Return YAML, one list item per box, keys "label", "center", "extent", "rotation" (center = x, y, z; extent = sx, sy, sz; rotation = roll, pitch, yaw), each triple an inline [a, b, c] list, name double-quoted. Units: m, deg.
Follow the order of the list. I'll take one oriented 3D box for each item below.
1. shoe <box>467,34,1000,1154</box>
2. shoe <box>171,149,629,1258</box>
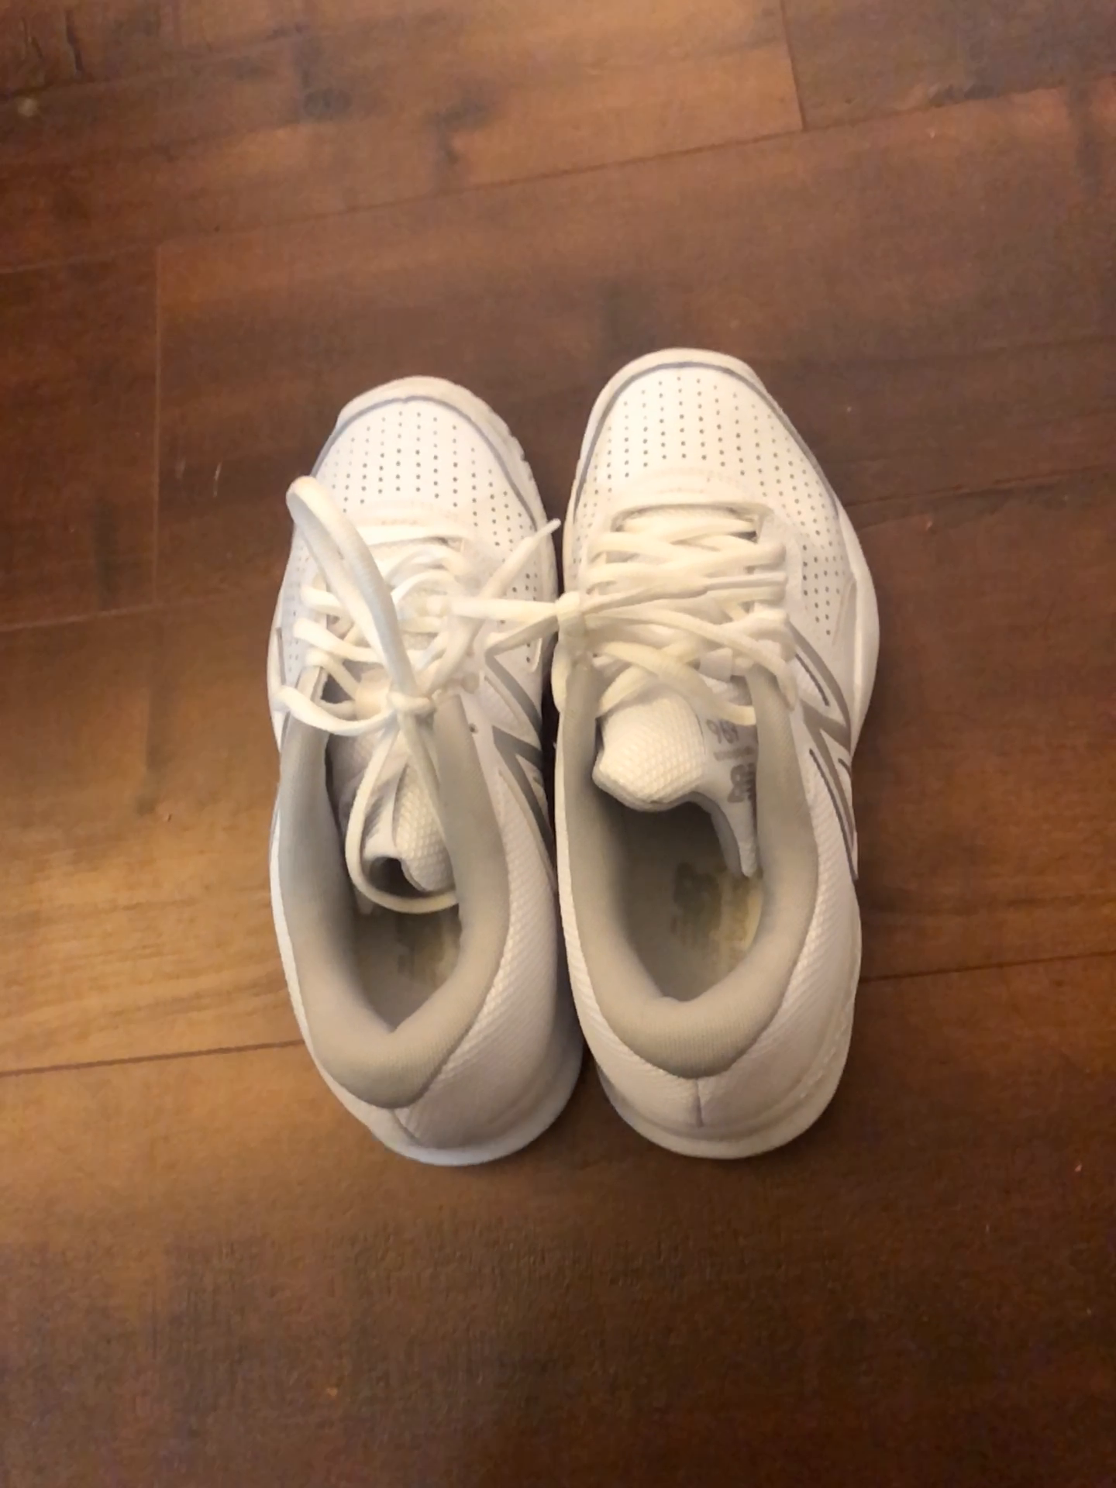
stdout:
- label: "shoe"
  center: [0.050, -0.032, 0.406]
  extent: [0.120, 0.170, 0.311]
  rotation: [-4, 72, 10]
- label: "shoe"
  center: [-0.046, -0.011, 0.398]
  extent: [0.100, 0.130, 0.311]
  rotation: [-6, 72, 6]
